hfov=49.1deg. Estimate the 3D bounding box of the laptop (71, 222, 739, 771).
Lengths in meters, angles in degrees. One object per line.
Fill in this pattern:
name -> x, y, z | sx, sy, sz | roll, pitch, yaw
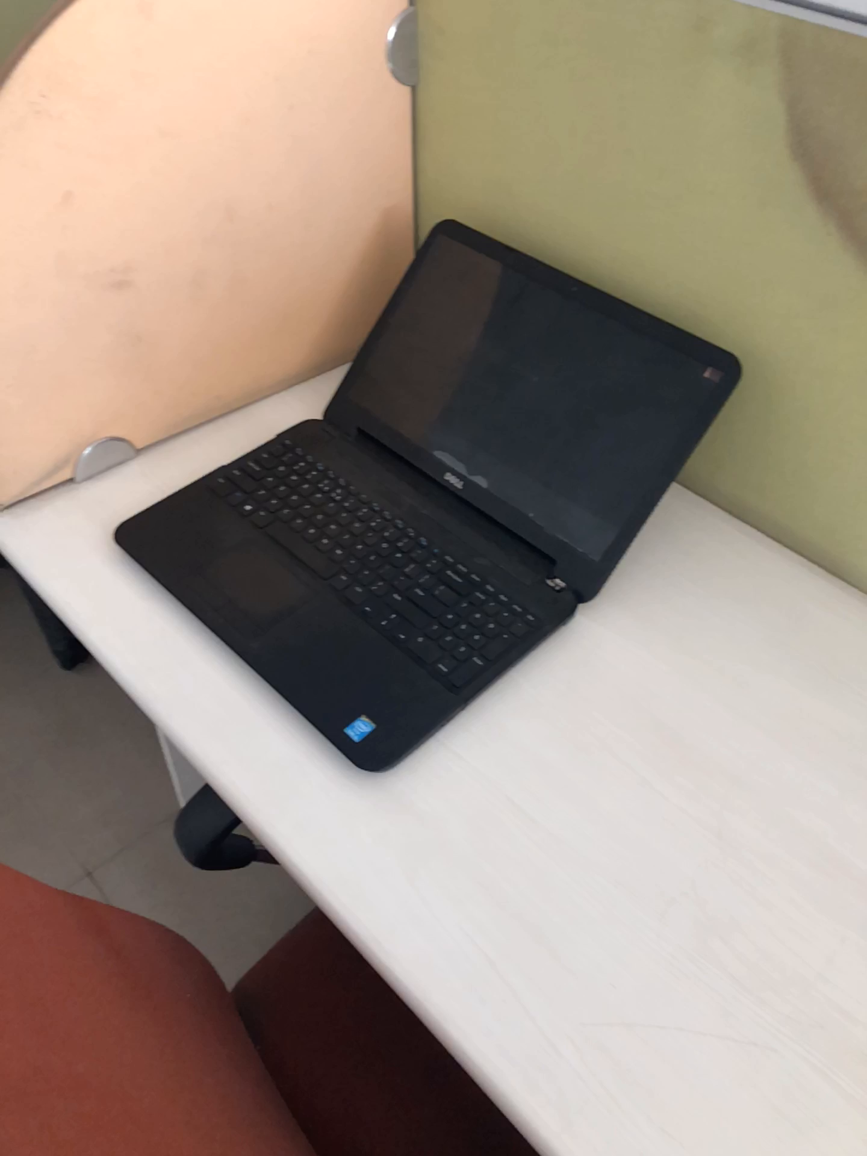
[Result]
laptop -> -0.018, -0.111, 0.849 | 0.425, 0.165, 0.357 | -35, 56, -30
